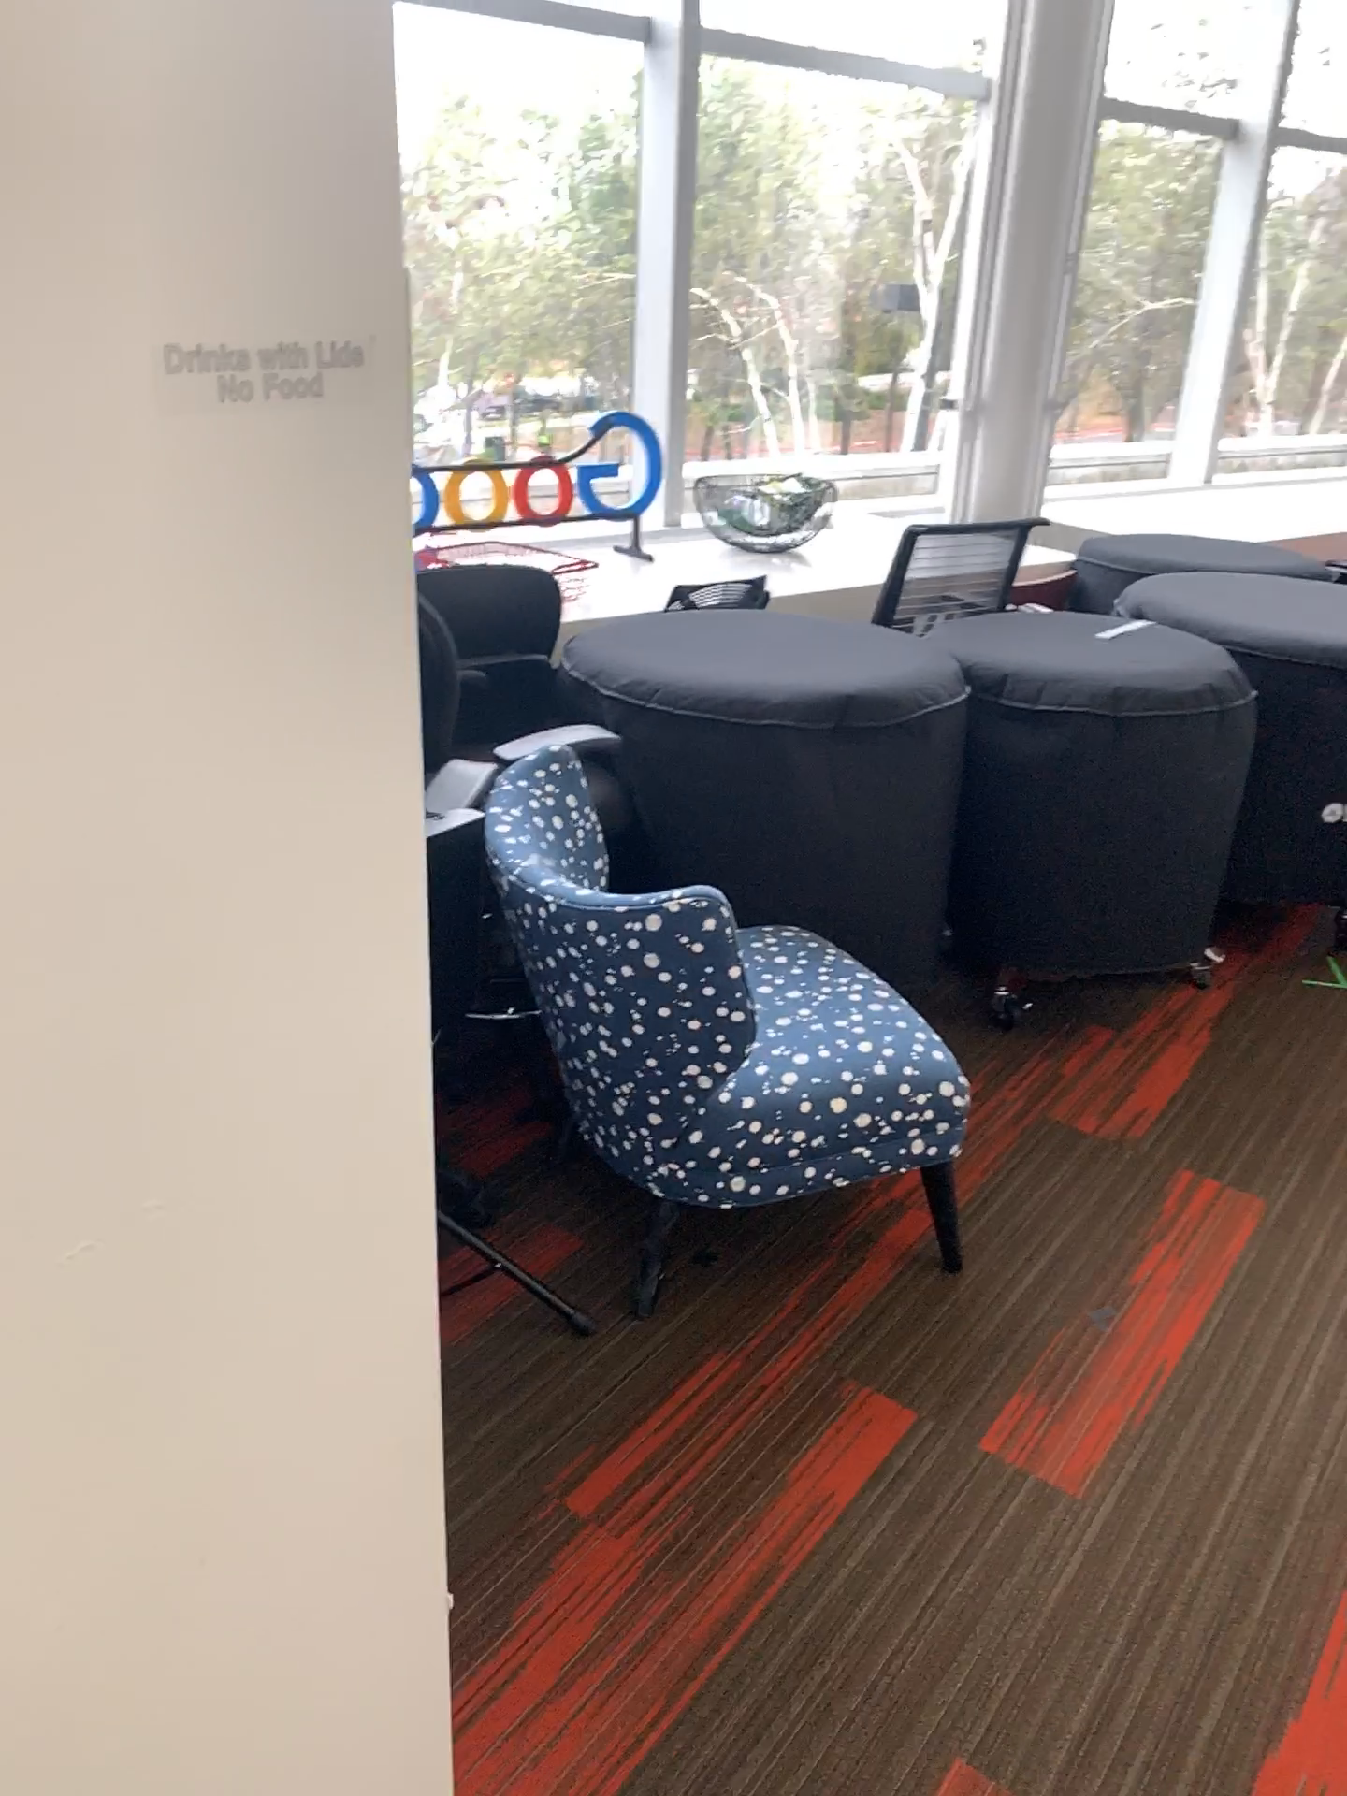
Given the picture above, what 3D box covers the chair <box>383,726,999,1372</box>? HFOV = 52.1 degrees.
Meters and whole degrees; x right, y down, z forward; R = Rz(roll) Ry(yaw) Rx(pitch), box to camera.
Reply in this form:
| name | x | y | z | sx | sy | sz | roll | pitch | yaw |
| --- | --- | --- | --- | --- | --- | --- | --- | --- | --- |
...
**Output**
| name | x | y | z | sx | sy | sz | roll | pitch | yaw |
| --- | --- | --- | --- | --- | --- | --- | --- | --- | --- |
| chair | -0.053 | 0.178 | 2.532 | 0.770 | 0.687 | 1.005 | -6 | 25 | -19 |
